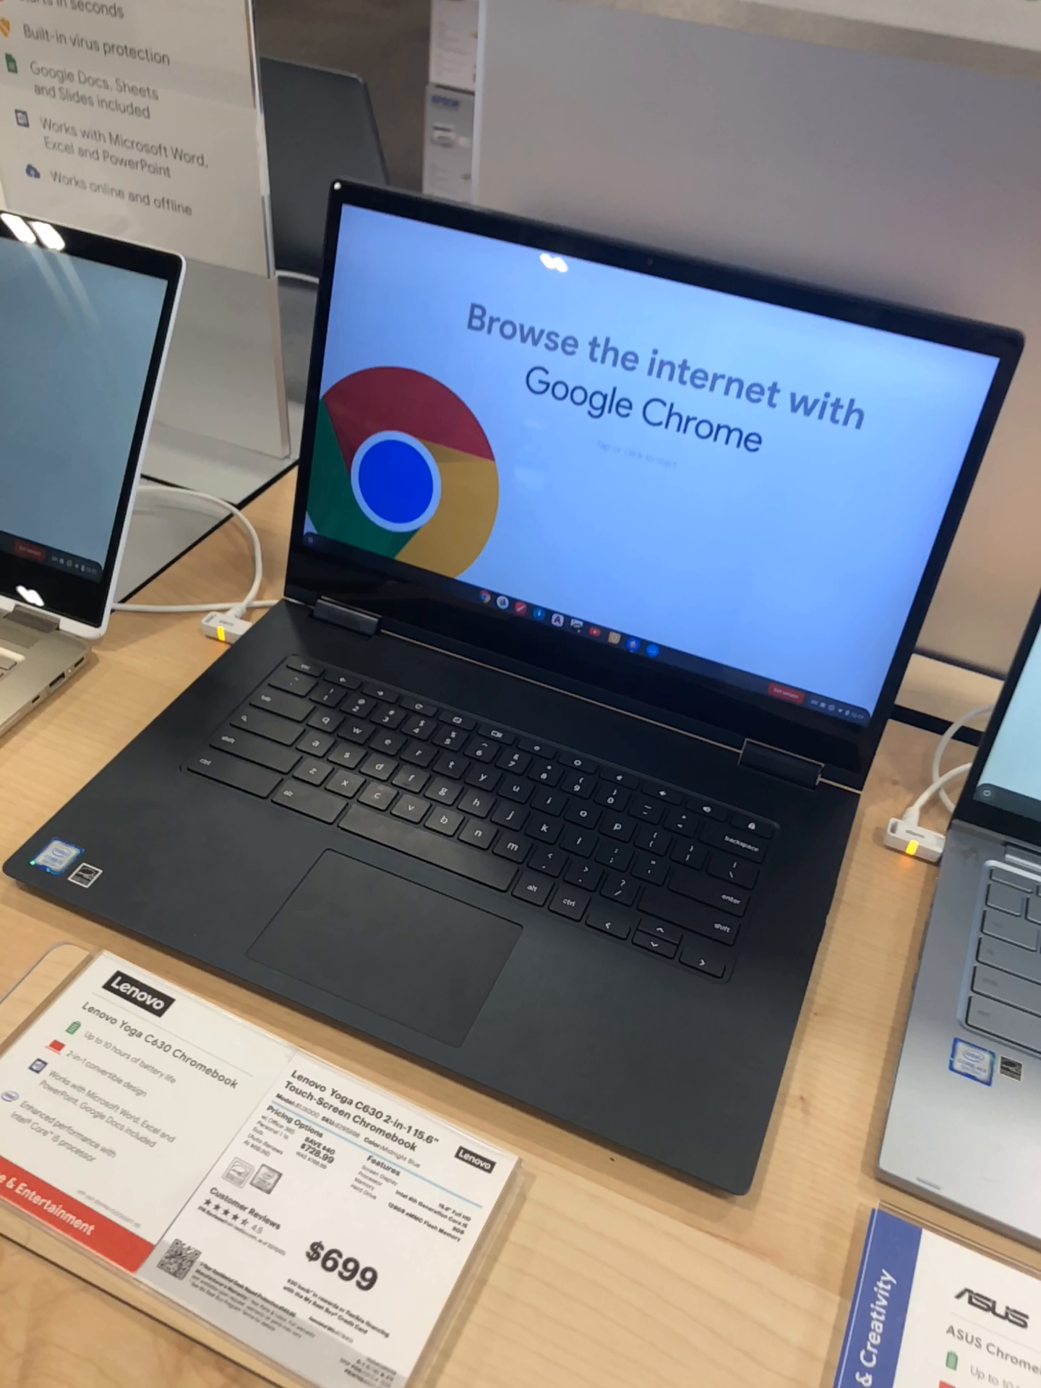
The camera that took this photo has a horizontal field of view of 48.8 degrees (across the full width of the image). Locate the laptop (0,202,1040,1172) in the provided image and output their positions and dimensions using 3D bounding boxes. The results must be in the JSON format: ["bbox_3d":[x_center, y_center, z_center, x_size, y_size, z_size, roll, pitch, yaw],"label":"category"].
[{"bbox_3d":[-0.002,-0.037,0.510,0.343,0.230,0.293,18,41,16],"label":"laptop"}]
